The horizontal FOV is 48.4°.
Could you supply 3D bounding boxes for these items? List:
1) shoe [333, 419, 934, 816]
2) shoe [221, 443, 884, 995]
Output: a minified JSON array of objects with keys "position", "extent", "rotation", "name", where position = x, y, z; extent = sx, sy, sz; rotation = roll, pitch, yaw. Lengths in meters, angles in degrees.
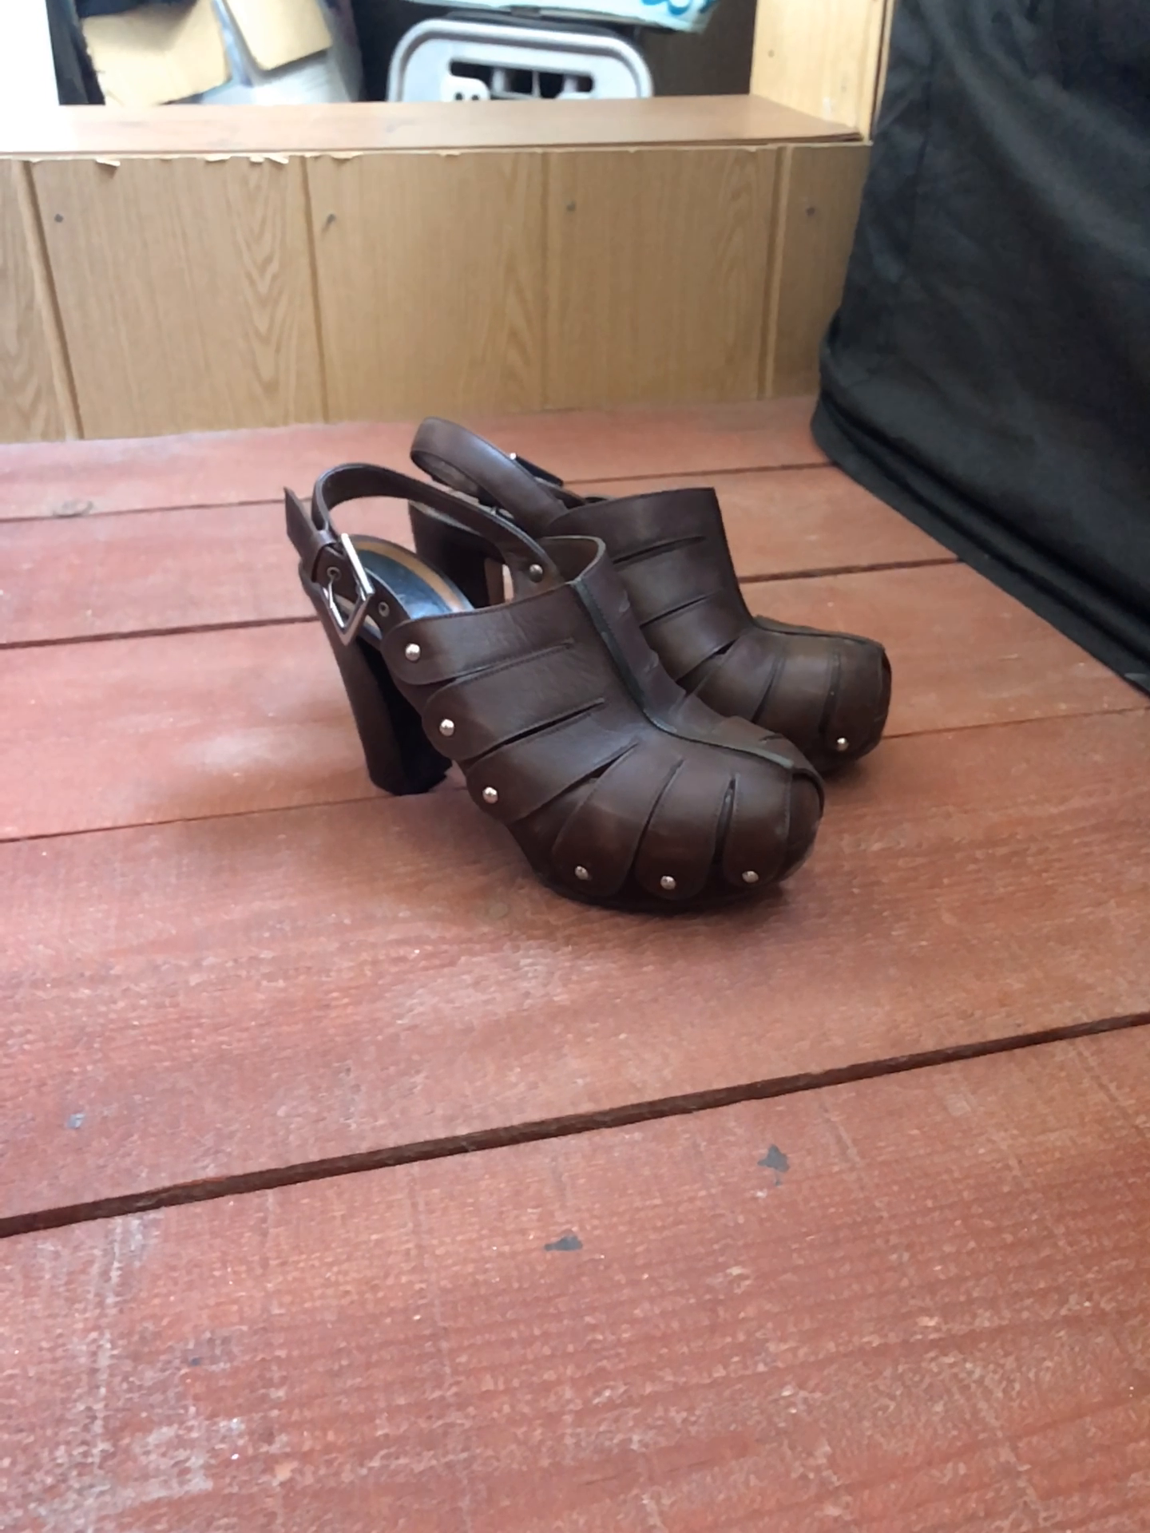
[{"position":[0.022,-0.065,0.505],"extent":[0.210,0.110,0.080],"rotation":[11,19,11],"name":"shoe"},{"position":[-0.013,-0.027,0.450],"extent":[0.210,0.119,0.080],"rotation":[19,36,29],"name":"shoe"}]
